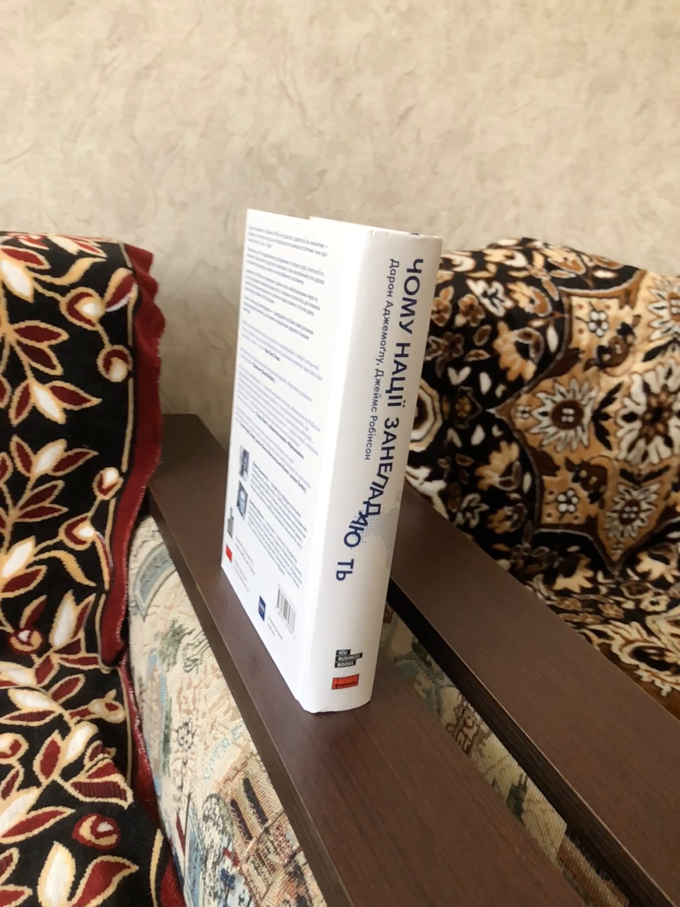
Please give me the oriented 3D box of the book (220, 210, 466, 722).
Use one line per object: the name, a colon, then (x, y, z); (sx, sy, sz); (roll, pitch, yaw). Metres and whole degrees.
book: (-0.013, -0.006, 0.379); (0.042, 0.212, 0.151); (-1, 19, -25)
